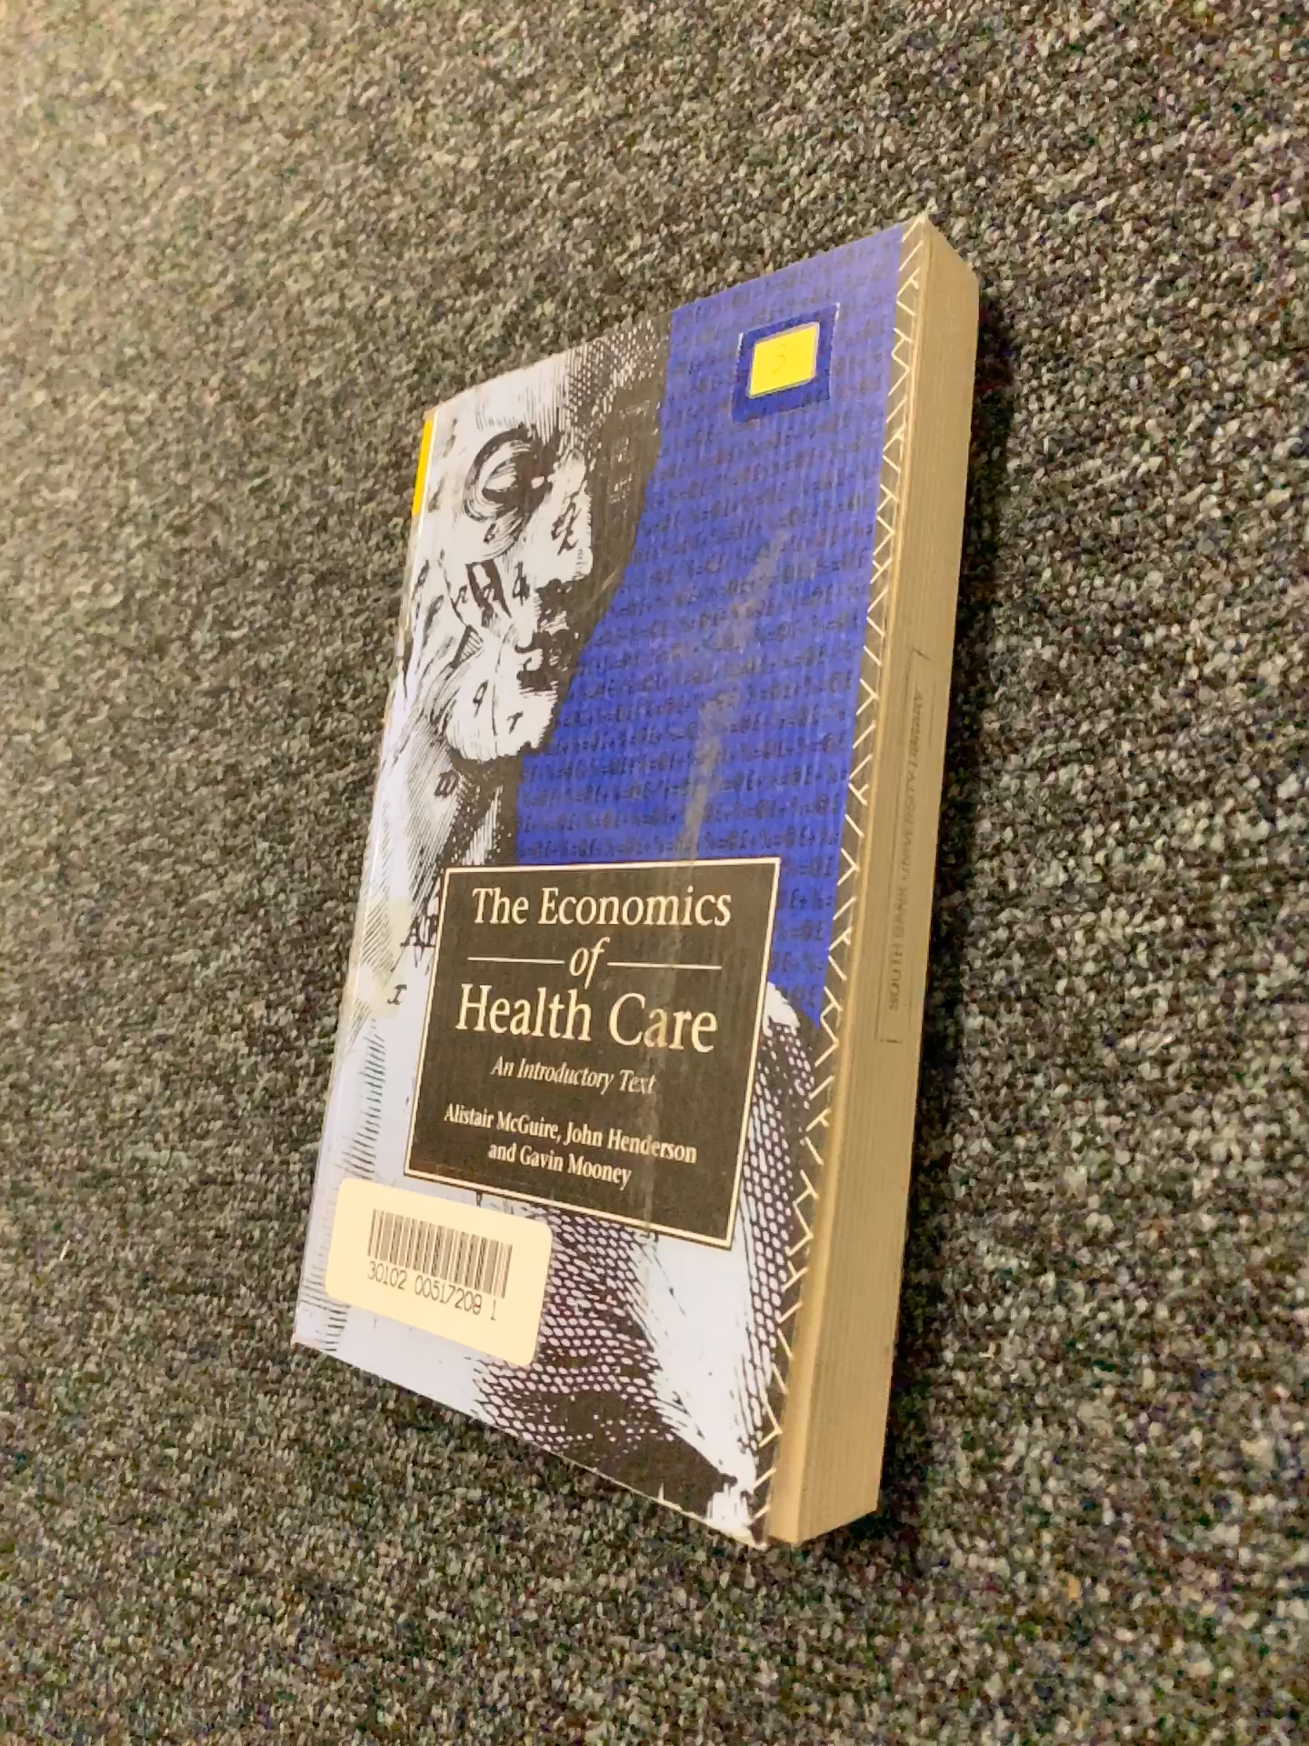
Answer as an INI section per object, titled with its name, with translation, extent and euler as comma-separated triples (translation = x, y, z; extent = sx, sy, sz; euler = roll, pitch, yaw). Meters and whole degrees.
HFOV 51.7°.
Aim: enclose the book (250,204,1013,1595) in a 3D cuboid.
[book]
translation = -0.010, -0.001, 0.255
extent = 0.136, 0.030, 0.207
euler = -1, 78, 43
